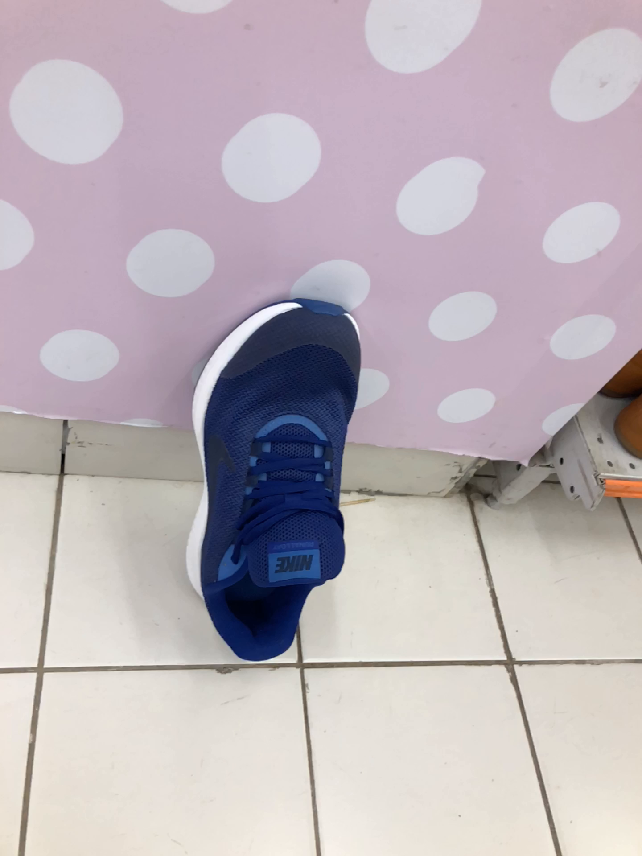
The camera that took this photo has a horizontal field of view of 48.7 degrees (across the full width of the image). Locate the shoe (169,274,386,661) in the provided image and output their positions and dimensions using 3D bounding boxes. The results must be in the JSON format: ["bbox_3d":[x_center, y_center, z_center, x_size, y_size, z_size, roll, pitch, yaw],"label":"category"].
[{"bbox_3d":[-0.039,0.021,0.498,0.100,0.239,0.110,2,13,-21],"label":"shoe"}]
